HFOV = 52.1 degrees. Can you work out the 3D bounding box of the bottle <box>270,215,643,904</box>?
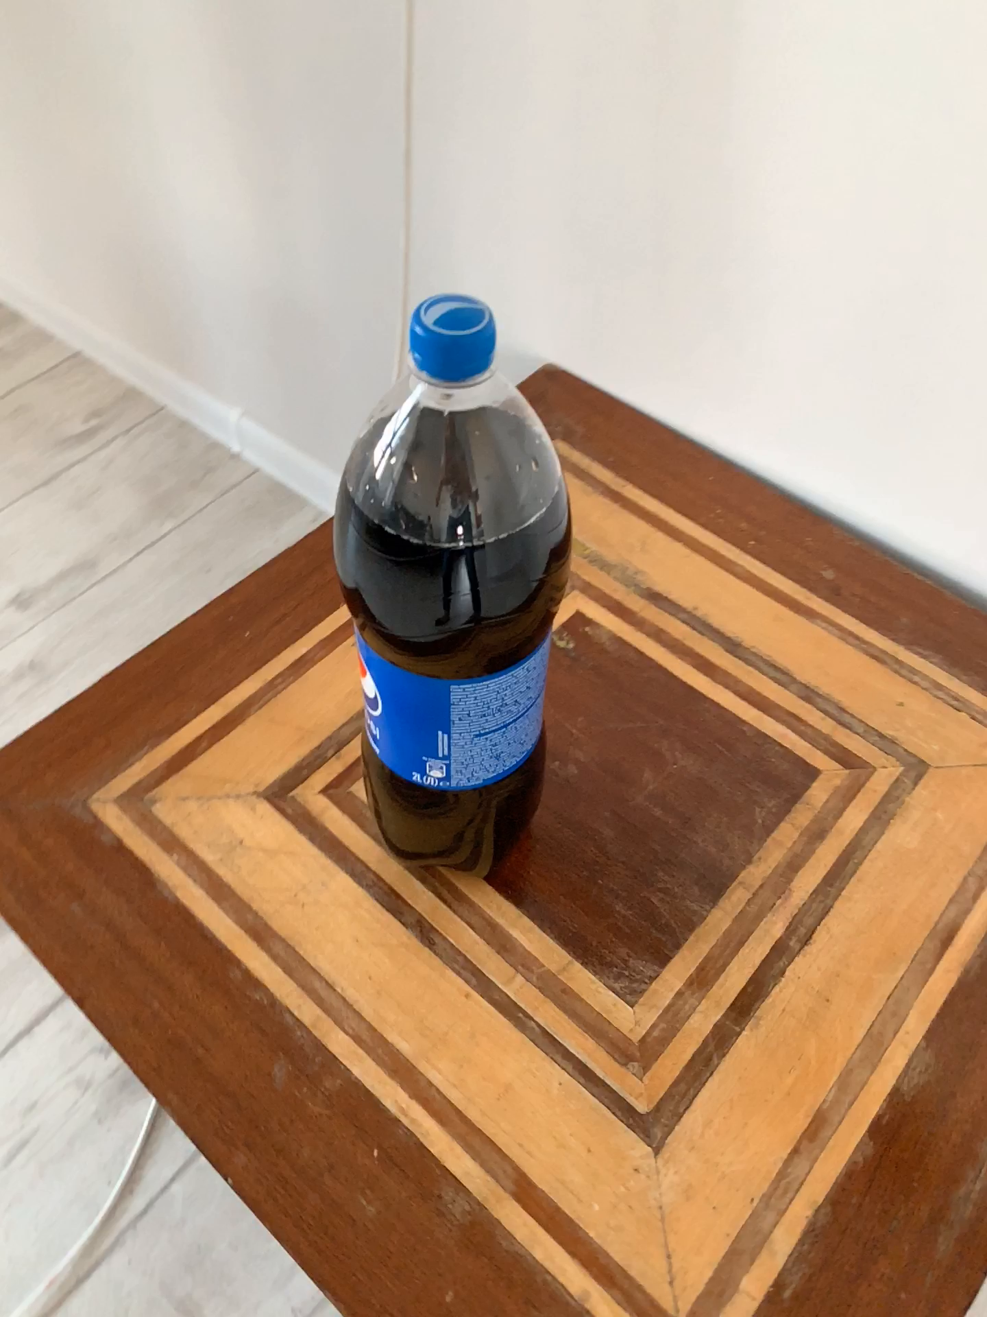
[{"bbox_3d":[-0.019,-0.015,0.478,0.100,0.339,0.100,1,52,-1],"label":"bottle"}]
